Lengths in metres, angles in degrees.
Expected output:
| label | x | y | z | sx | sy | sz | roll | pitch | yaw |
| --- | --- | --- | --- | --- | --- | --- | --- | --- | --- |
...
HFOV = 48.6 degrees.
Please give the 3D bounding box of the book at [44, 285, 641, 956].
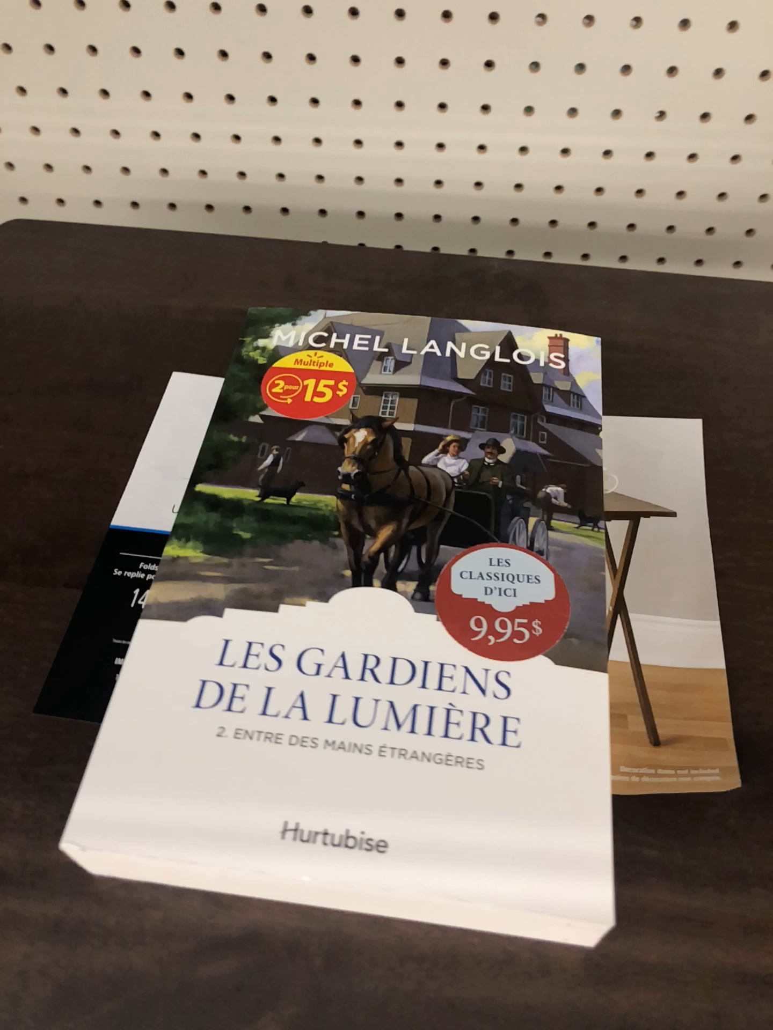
| label | x | y | z | sx | sy | sz | roll | pitch | yaw |
| --- | --- | --- | --- | --- | --- | --- | --- | --- | --- |
| book | 0.002 | 0.015 | 0.309 | 0.158 | 0.039 | 0.235 | 6 | 54 | 5 |
